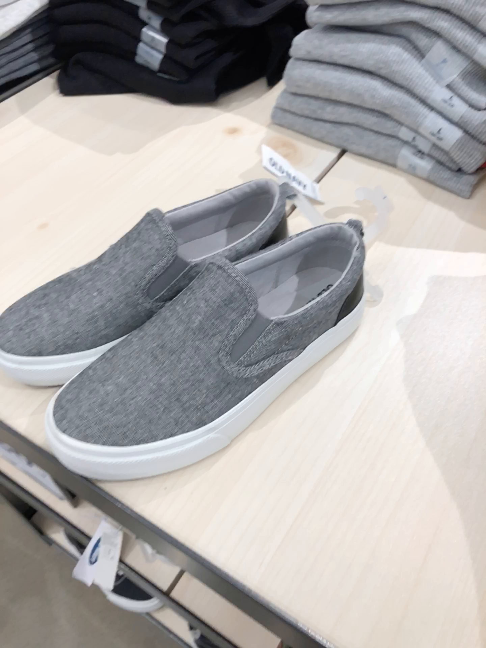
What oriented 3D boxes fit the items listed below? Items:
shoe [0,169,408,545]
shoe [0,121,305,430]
[{"bbox_3d":[-0.018,0.011,0.319,0.210,0.100,0.090,-31,53,-21],"label":"shoe"},{"bbox_3d":[-0.073,-0.038,0.360,0.210,0.100,0.090,-26,52,-17],"label":"shoe"}]
